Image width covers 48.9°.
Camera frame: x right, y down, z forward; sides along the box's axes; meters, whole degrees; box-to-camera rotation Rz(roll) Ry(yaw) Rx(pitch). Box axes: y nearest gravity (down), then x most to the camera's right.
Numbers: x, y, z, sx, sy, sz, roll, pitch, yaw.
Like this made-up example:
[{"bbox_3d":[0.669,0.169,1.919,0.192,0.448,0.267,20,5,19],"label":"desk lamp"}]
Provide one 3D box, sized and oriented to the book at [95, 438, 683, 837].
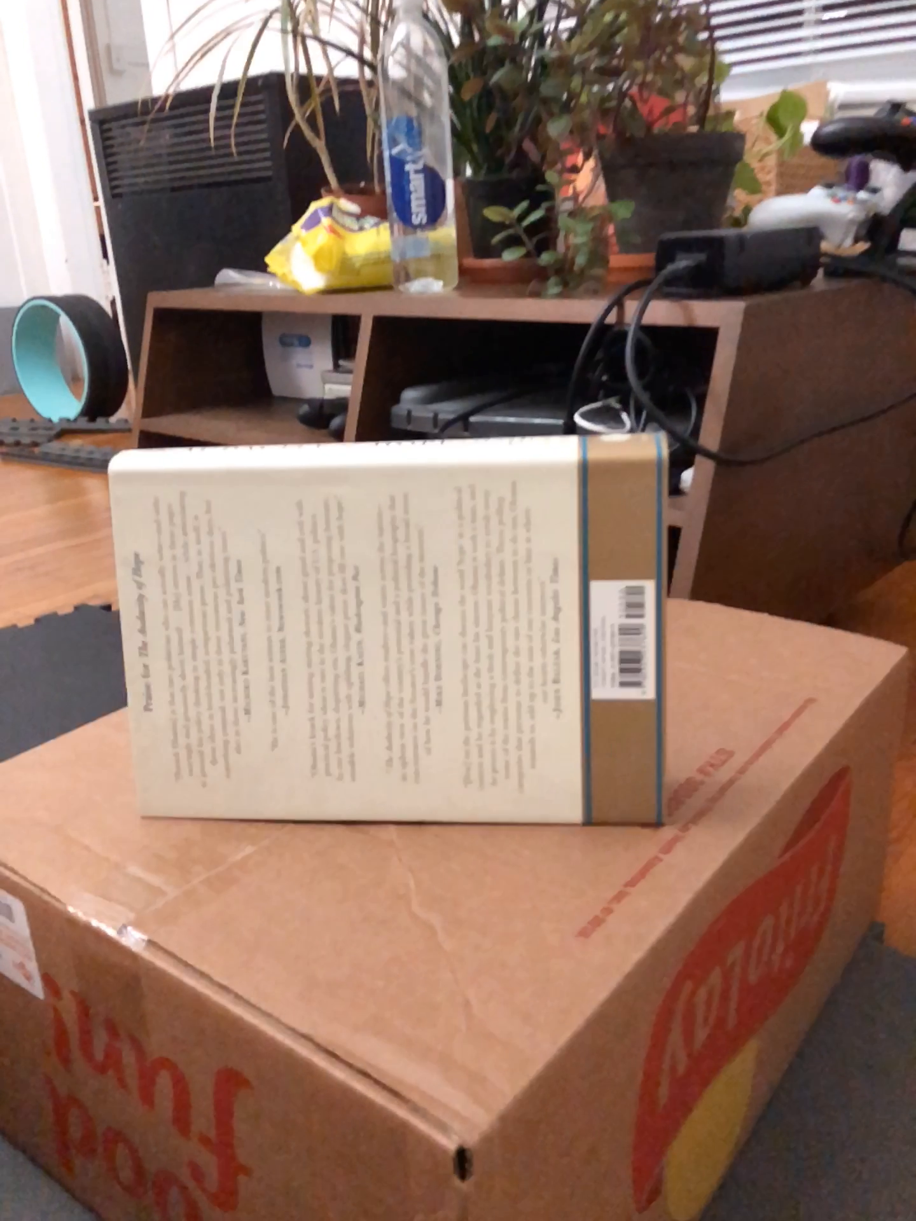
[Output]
[{"bbox_3d":[-0.029,0.008,0.465,0.250,0.170,0.060,1,10,6],"label":"book"}]
